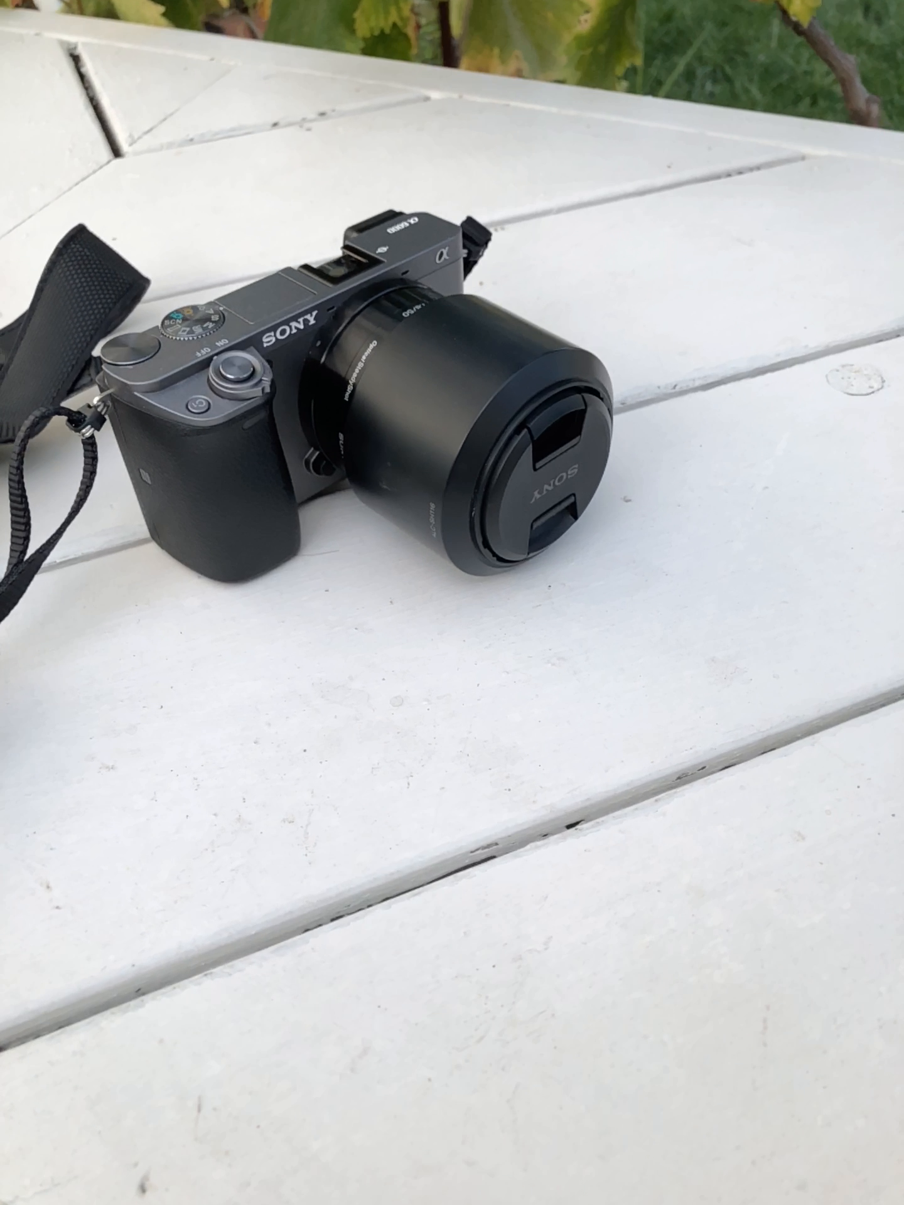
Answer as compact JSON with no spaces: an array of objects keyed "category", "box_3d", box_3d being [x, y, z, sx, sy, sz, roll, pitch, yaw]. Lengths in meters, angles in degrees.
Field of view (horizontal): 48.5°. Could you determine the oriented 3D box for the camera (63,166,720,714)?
[{"category":"camera","box_3d":[-0.014,-0.059,0.296,0.140,0.070,0.110,-35,54,-30]}]
